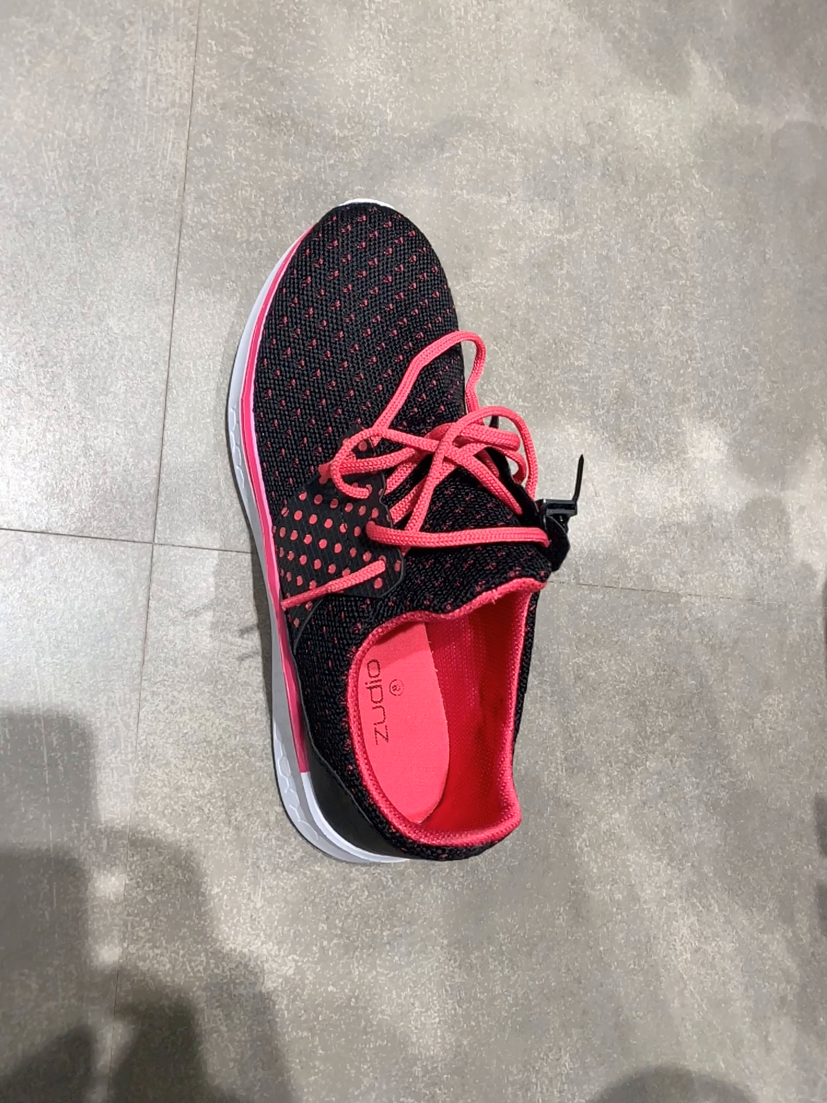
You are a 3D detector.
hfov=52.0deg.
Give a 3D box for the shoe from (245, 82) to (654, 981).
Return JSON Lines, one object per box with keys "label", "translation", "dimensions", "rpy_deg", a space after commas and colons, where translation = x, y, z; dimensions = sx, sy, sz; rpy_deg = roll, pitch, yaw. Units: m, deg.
{"label": "shoe", "translation": [0.004, -0.006, 0.318], "dimensions": [0.110, 0.110, 0.263], "rpy_deg": [0, 85, -22]}
